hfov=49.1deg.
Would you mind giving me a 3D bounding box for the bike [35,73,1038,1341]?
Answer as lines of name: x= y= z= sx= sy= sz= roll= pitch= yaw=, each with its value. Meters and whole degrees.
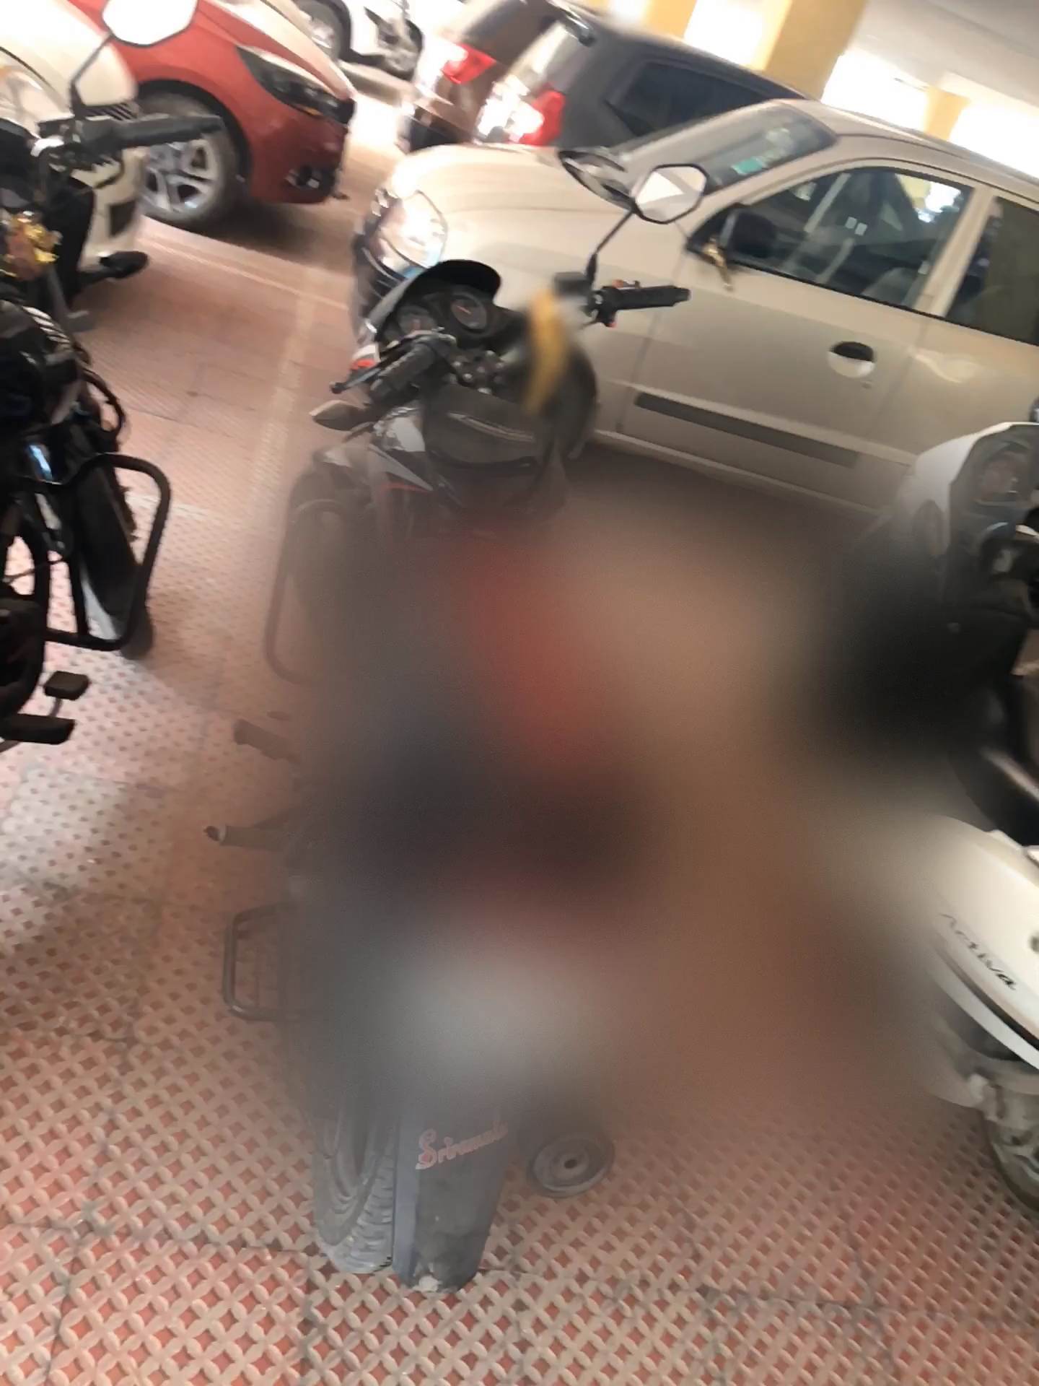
bike: x=-0.219 y=-0.113 z=1.711 sx=0.747 sy=1.011 sz=1.559 roll=8 pitch=33 yaw=-22
